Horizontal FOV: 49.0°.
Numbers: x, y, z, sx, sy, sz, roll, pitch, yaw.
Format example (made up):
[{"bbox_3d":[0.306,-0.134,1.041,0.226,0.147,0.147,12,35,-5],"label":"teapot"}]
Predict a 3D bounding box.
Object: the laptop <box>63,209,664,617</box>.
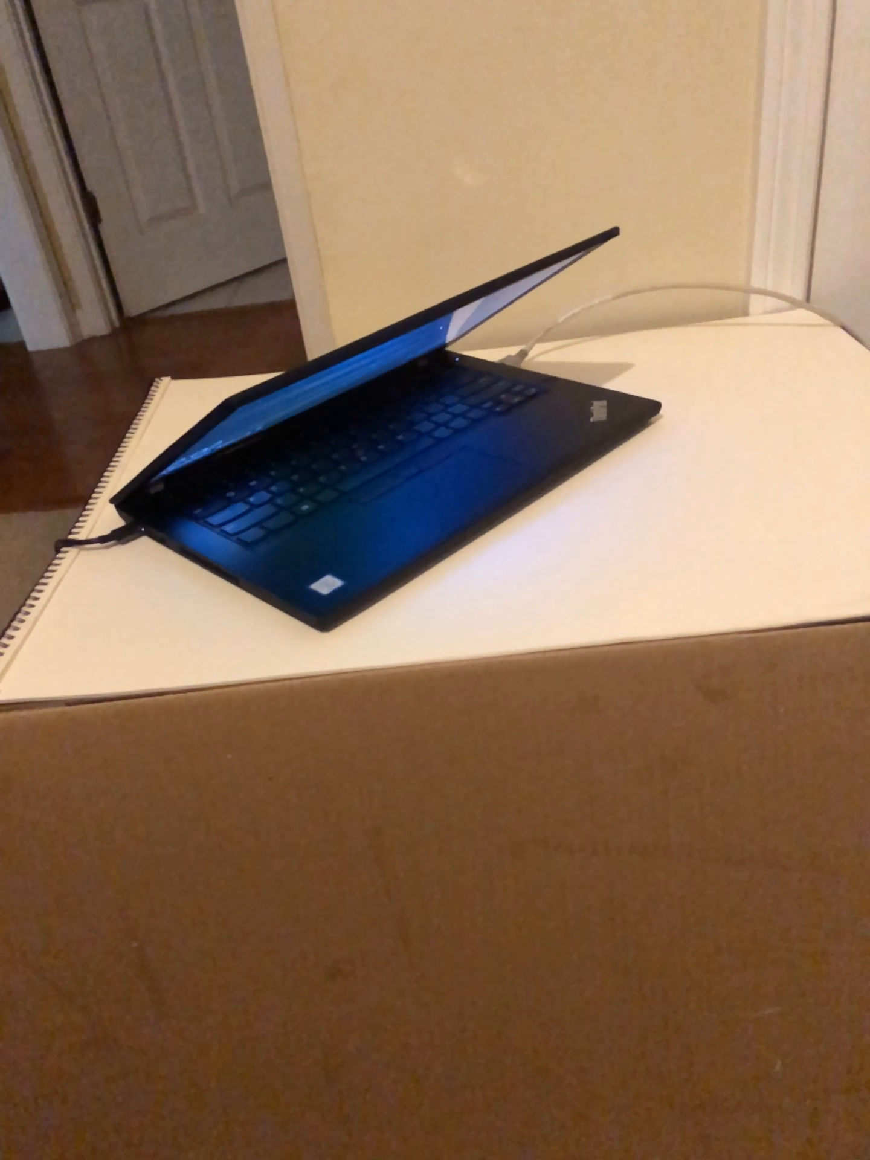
[{"bbox_3d":[-0.035,-0.139,0.637,0.318,0.115,0.227,-33,40,-33],"label":"laptop"}]
